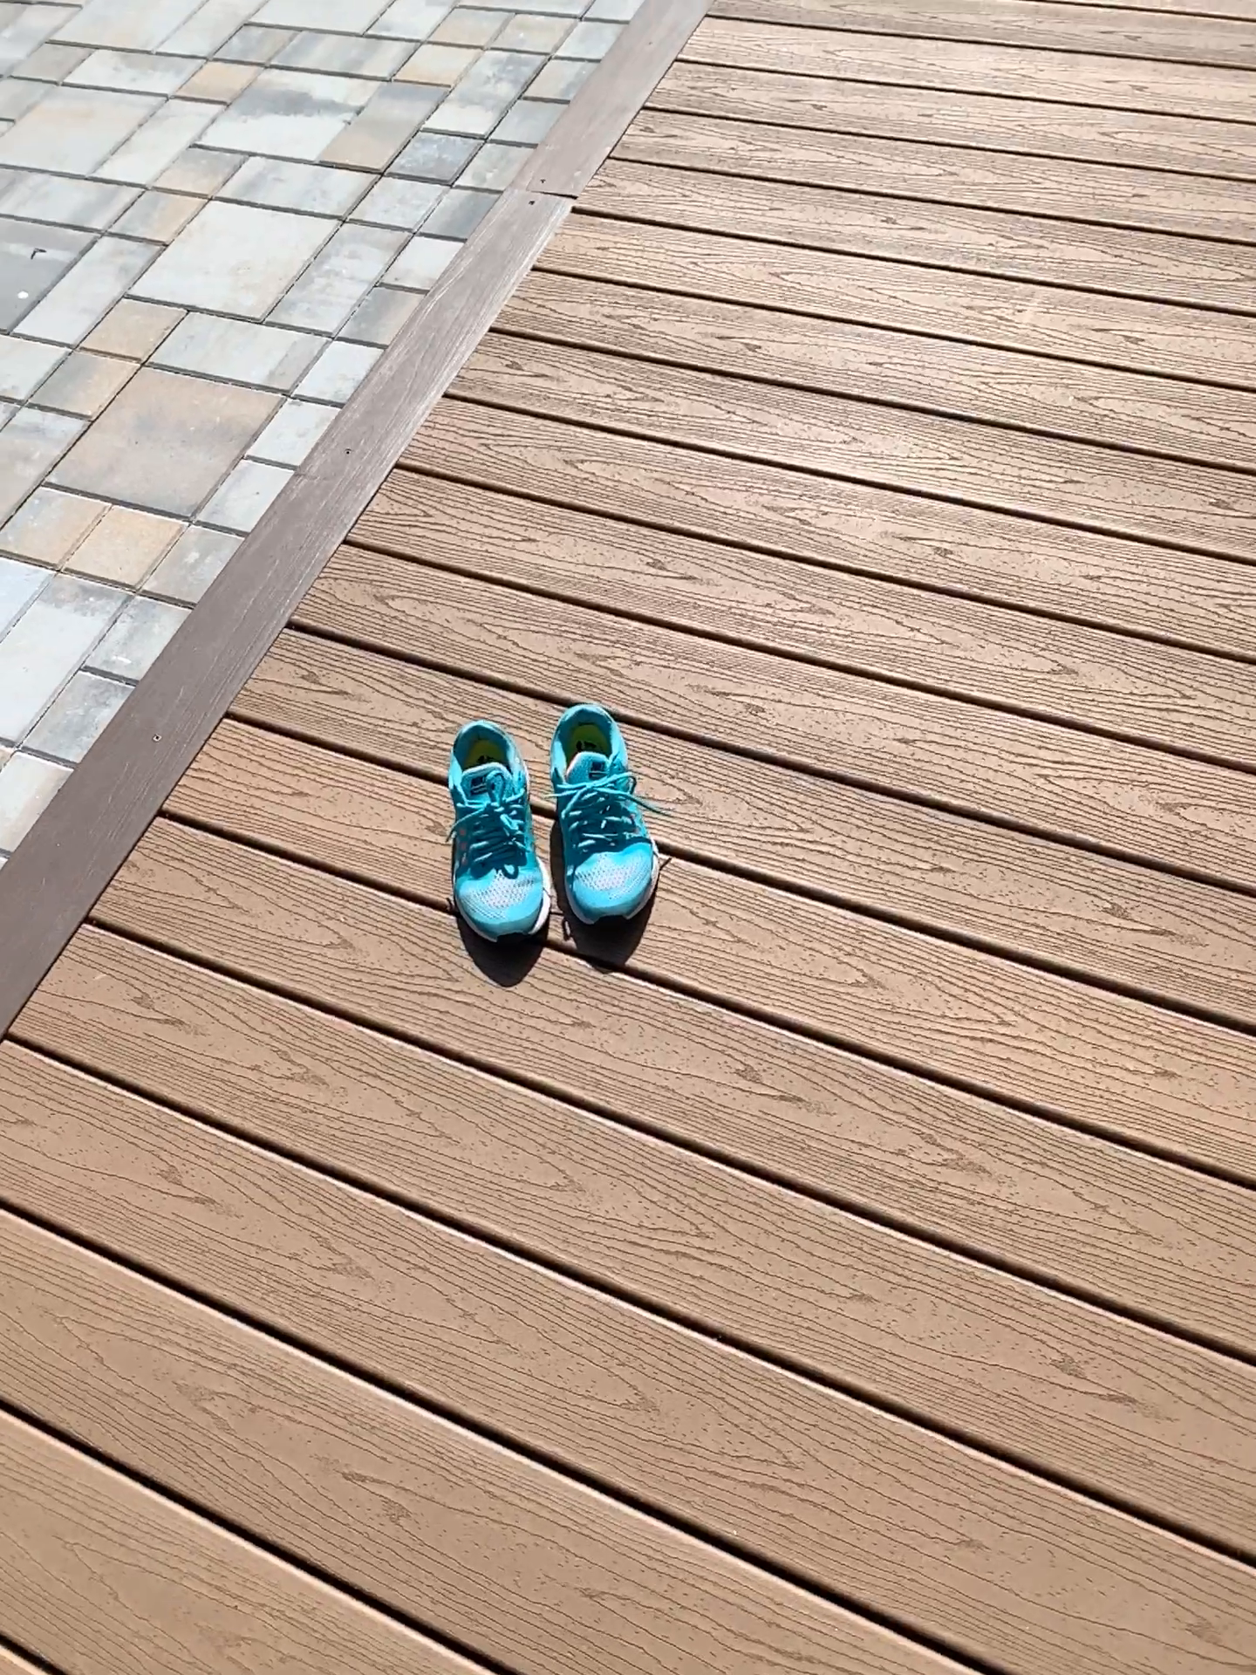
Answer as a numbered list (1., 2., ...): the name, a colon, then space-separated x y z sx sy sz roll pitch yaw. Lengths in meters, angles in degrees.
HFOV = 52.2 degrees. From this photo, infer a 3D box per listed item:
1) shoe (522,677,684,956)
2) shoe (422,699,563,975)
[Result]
1. shoe: -0.027 -0.025 1.282 0.110 0.080 0.261 -12 58 0
2. shoe: -0.139 -0.004 1.292 0.110 0.080 0.261 -10 58 1
